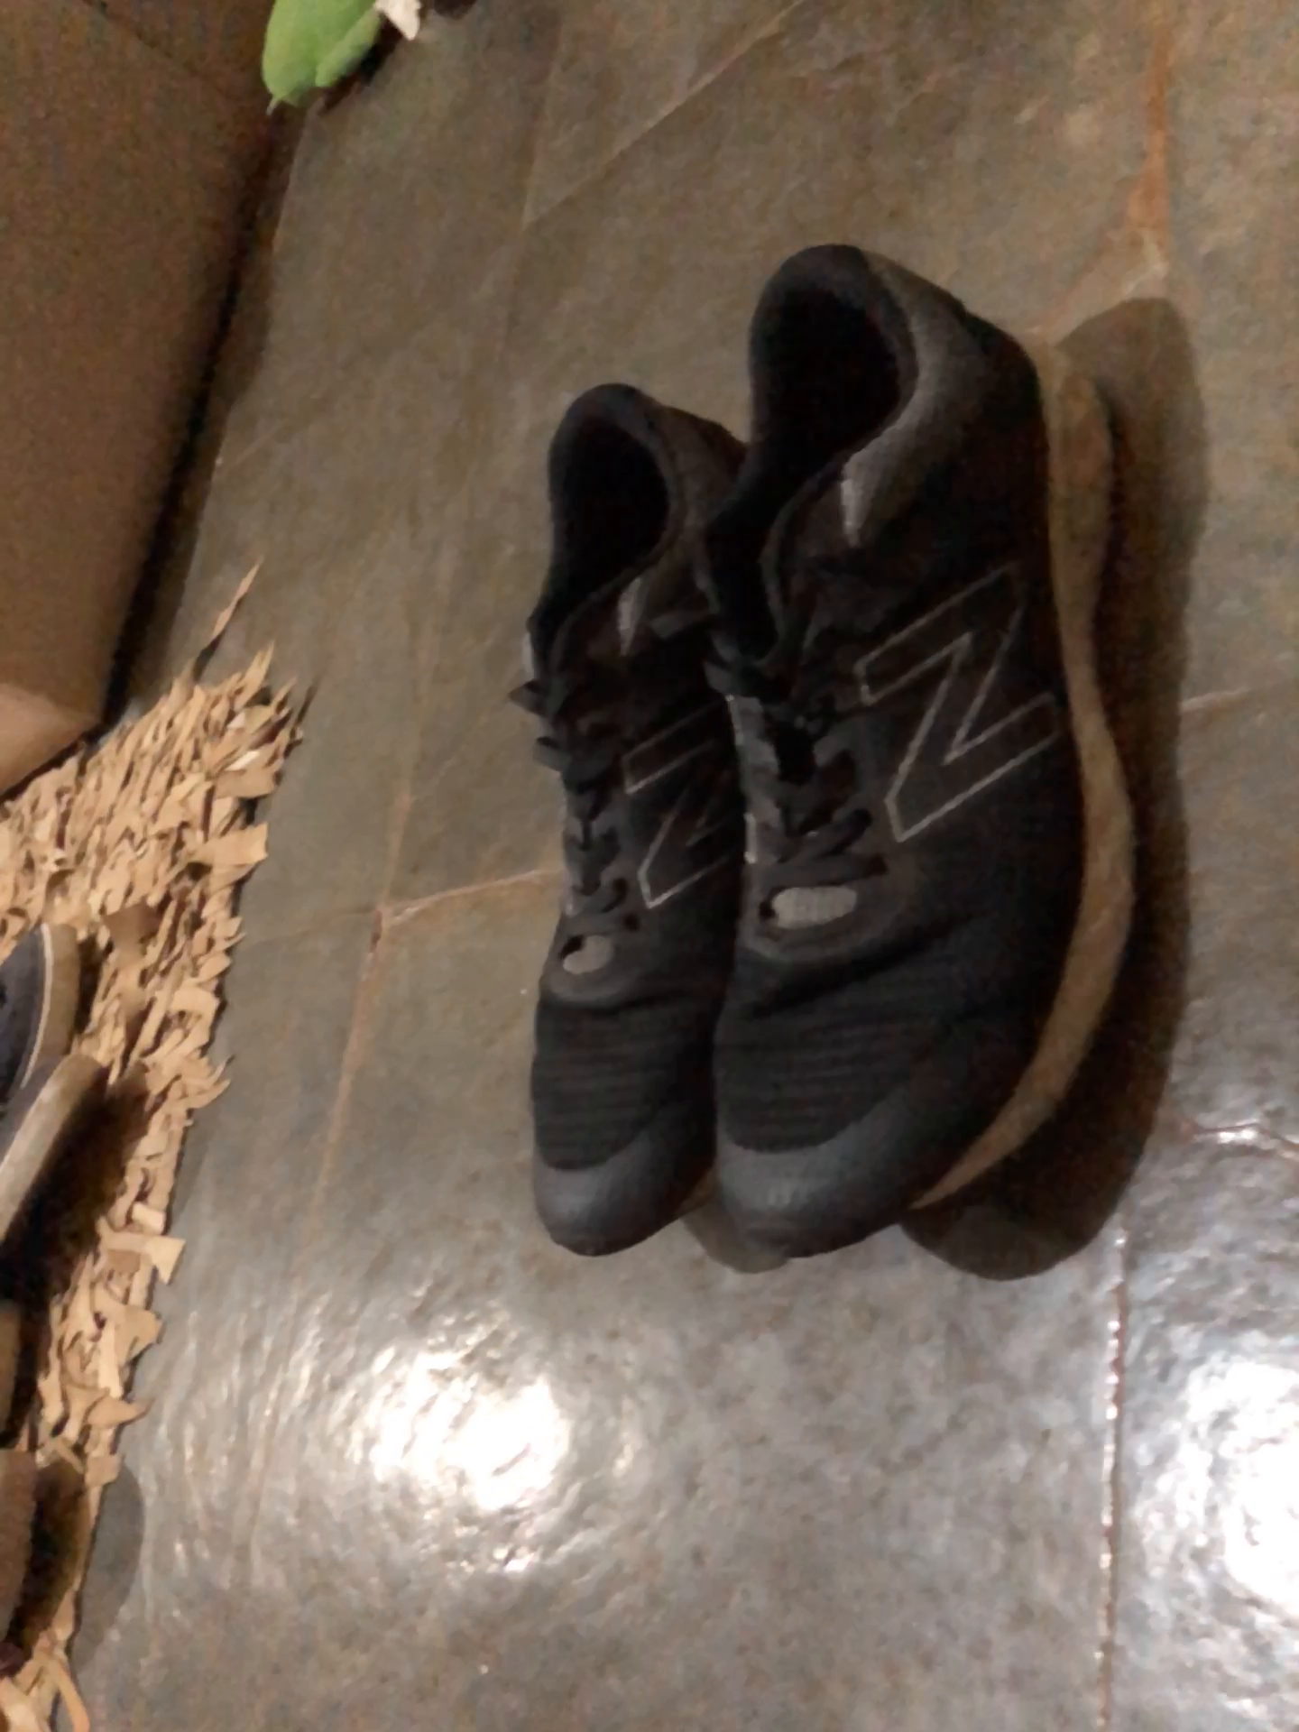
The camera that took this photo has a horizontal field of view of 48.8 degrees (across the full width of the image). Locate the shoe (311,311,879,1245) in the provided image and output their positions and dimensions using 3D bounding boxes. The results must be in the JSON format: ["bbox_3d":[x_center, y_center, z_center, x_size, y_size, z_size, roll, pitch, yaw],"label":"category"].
[{"bbox_3d":[-0.011,-0.020,0.460,0.120,0.099,0.261,-18,58,47],"label":"shoe"}]

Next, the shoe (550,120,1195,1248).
[{"bbox_3d":[0.063,-0.040,0.381,0.110,0.099,0.261,-18,58,47],"label":"shoe"}]
